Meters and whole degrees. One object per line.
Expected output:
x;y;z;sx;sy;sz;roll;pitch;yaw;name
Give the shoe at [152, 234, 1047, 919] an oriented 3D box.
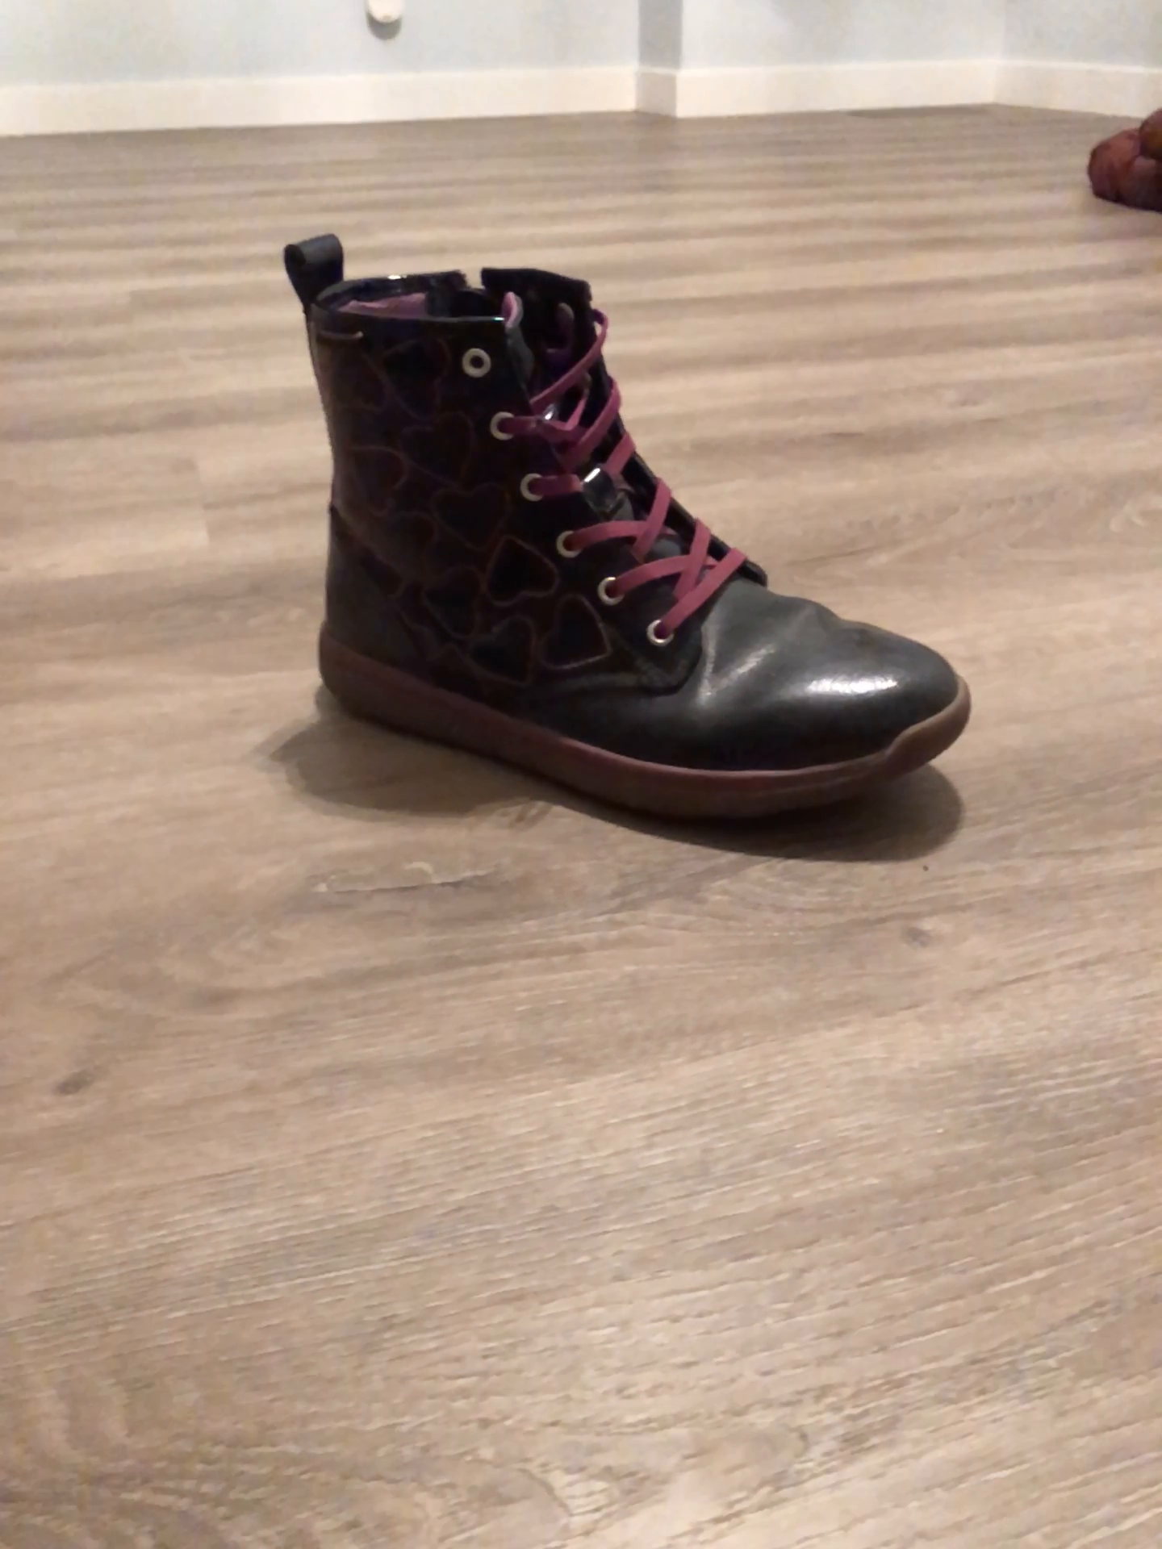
0.003;-0.074;0.399;0.230;0.149;0.100;14;33;25;shoe
